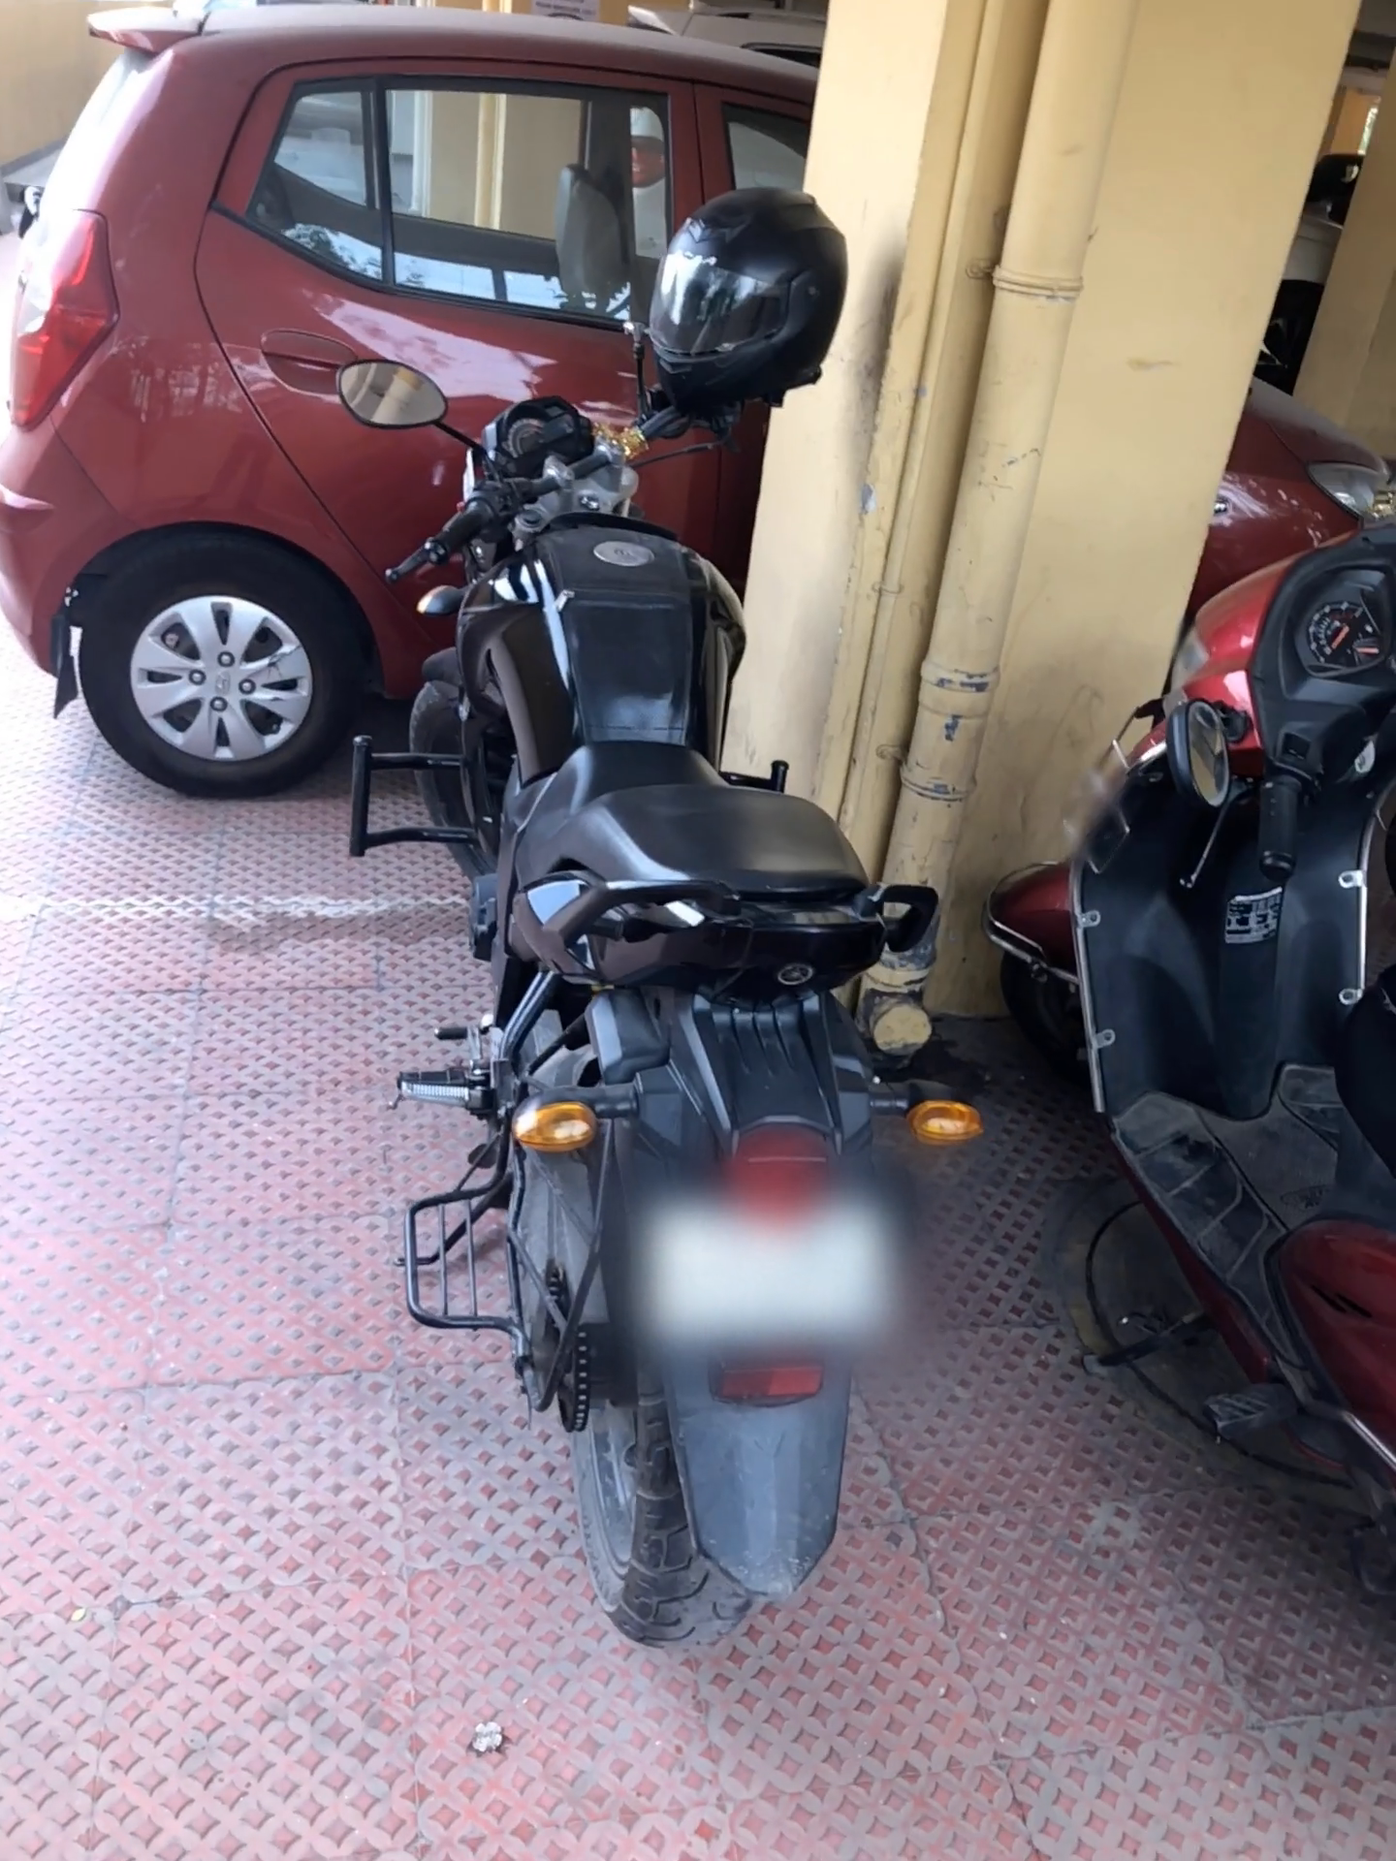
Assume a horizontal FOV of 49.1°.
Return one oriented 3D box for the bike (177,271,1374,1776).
[{"bbox_3d":[-0.230,-0.127,1.935,0.739,1.025,1.791,-2,30,-18],"label":"bike"}]
